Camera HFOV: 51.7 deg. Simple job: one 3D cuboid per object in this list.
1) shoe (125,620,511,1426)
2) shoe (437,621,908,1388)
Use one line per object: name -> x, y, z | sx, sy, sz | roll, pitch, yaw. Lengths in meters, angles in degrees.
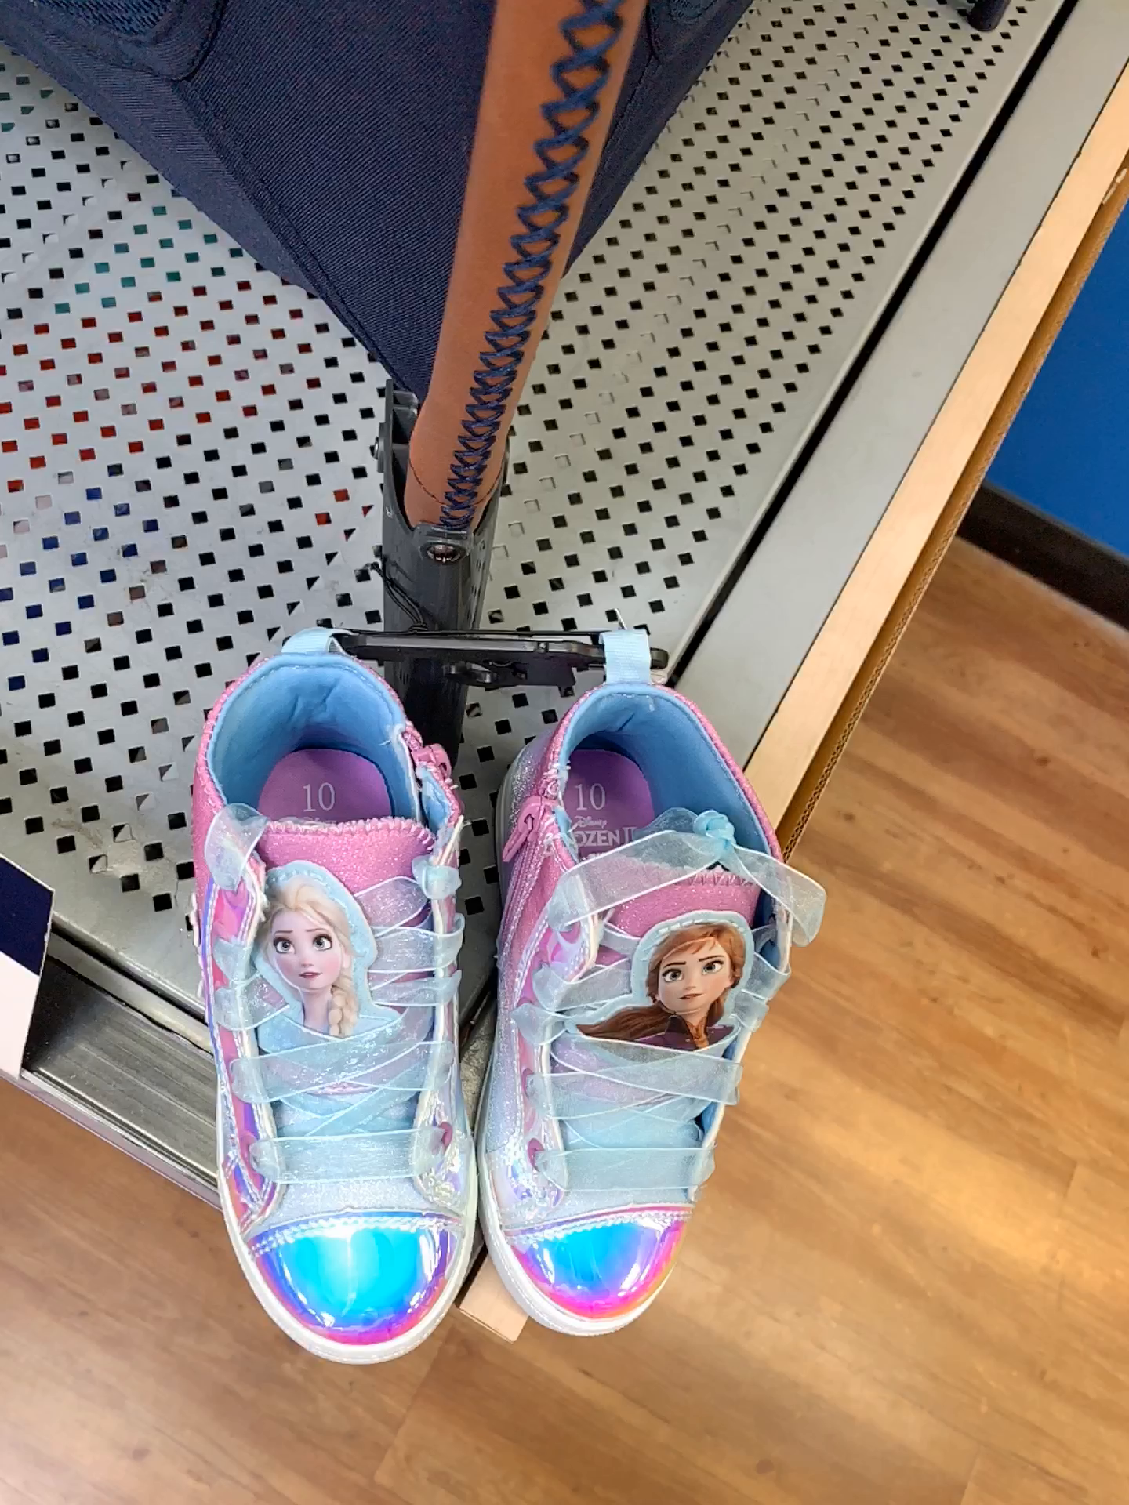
shoe -> -0.066, 0.069, 0.323 | 0.079, 0.102, 0.182 | -2, 70, -9
shoe -> 0.018, 0.069, 0.337 | 0.089, 0.102, 0.182 | 1, 69, -14
